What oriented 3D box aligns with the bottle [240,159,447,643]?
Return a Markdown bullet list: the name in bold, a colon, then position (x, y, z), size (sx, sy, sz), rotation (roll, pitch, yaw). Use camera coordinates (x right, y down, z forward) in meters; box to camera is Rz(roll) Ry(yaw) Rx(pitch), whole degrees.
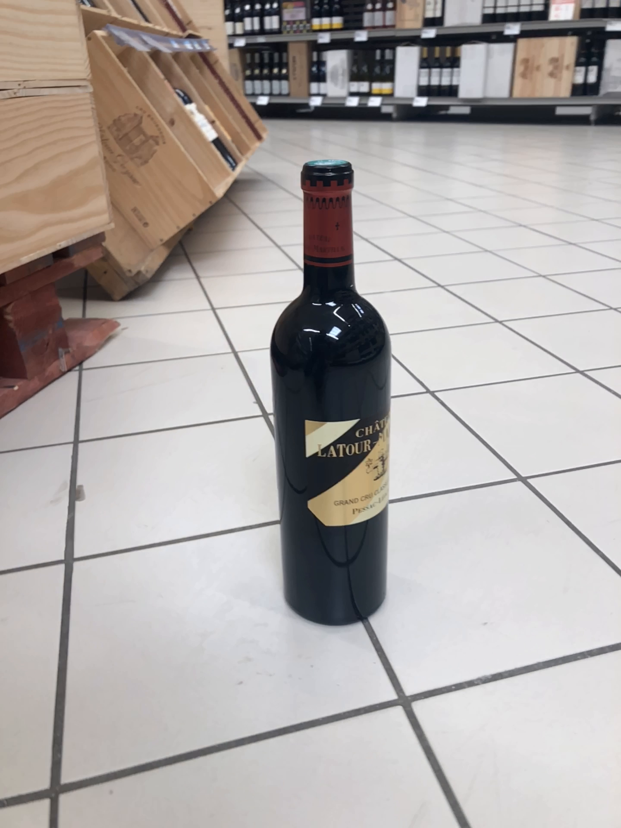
- **bottle**: position (0.021, -0.005, 0.424), size (0.080, 0.278, 0.080), rotation (-1, 26, 0)
